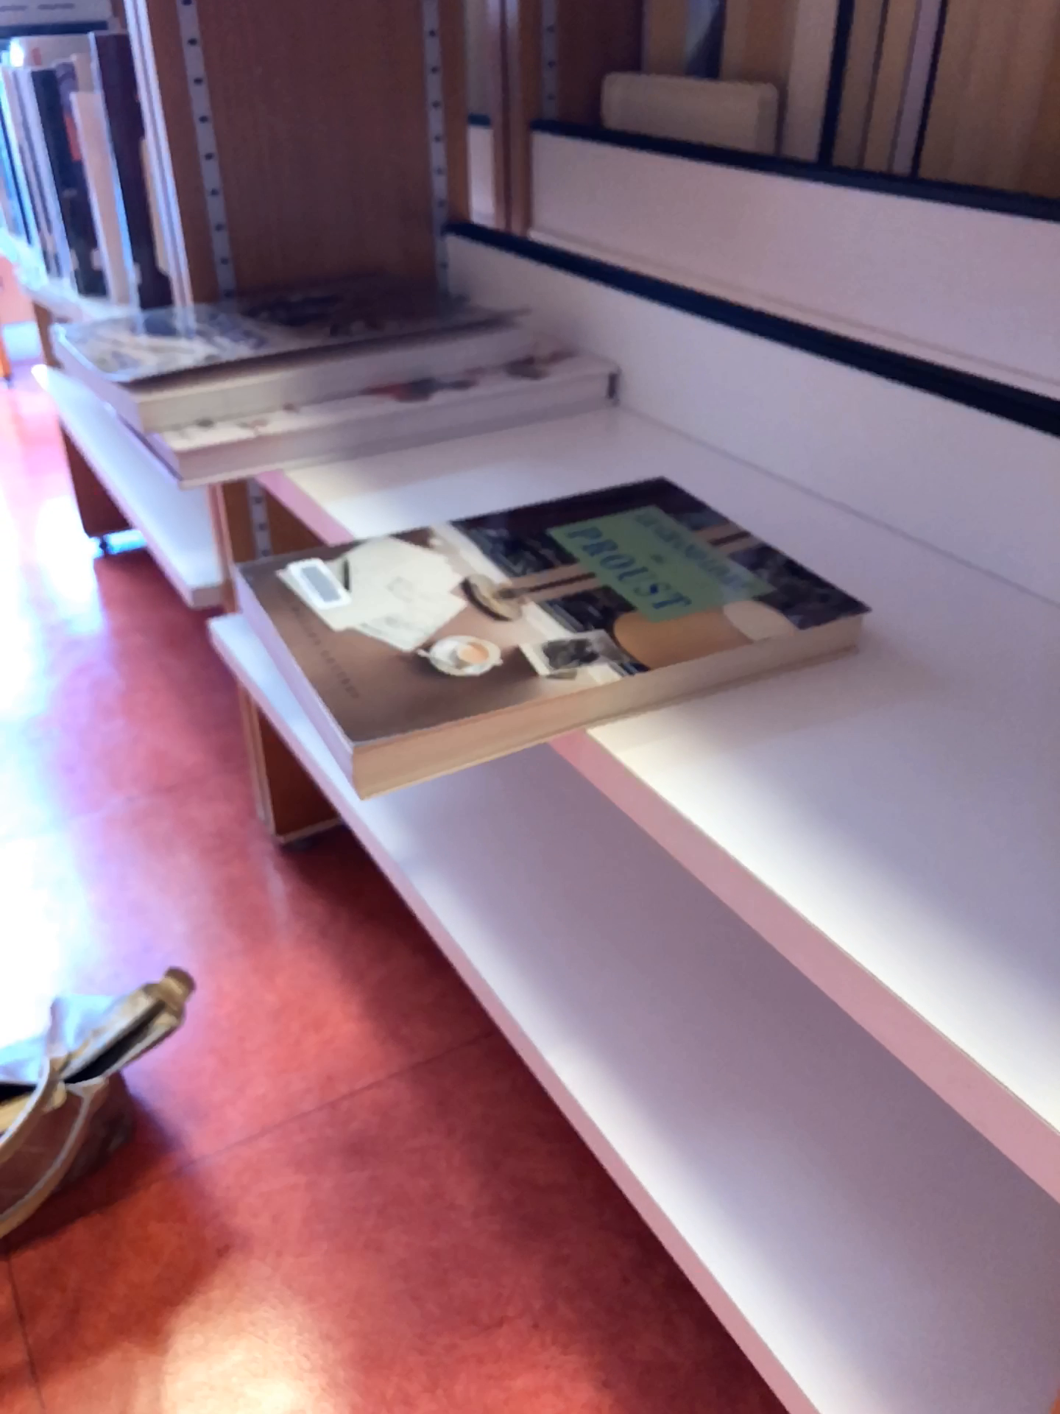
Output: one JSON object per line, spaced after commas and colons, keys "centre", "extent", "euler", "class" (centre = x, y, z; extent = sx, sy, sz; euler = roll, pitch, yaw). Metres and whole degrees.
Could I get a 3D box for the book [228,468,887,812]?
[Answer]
{"centre": [0.005, -0.046, 0.541], "extent": [0.245, 0.030, 0.181], "euler": [-15, 34, -20], "class": "book"}
